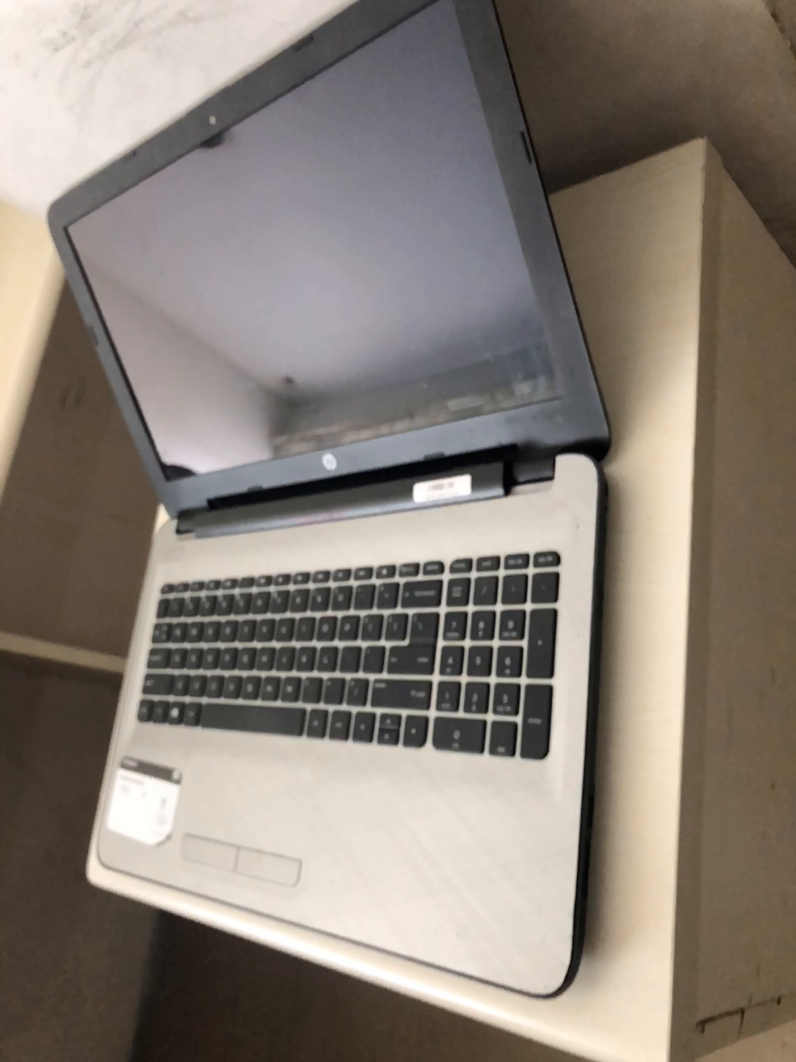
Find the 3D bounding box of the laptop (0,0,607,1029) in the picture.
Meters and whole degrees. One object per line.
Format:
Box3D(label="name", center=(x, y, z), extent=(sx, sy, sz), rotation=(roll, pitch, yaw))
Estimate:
Box3D(label="laptop", center=(-0.090, -0.016, 0.494), extent=(0.363, 0.136, 0.426), rotation=(-7, 71, 41))
